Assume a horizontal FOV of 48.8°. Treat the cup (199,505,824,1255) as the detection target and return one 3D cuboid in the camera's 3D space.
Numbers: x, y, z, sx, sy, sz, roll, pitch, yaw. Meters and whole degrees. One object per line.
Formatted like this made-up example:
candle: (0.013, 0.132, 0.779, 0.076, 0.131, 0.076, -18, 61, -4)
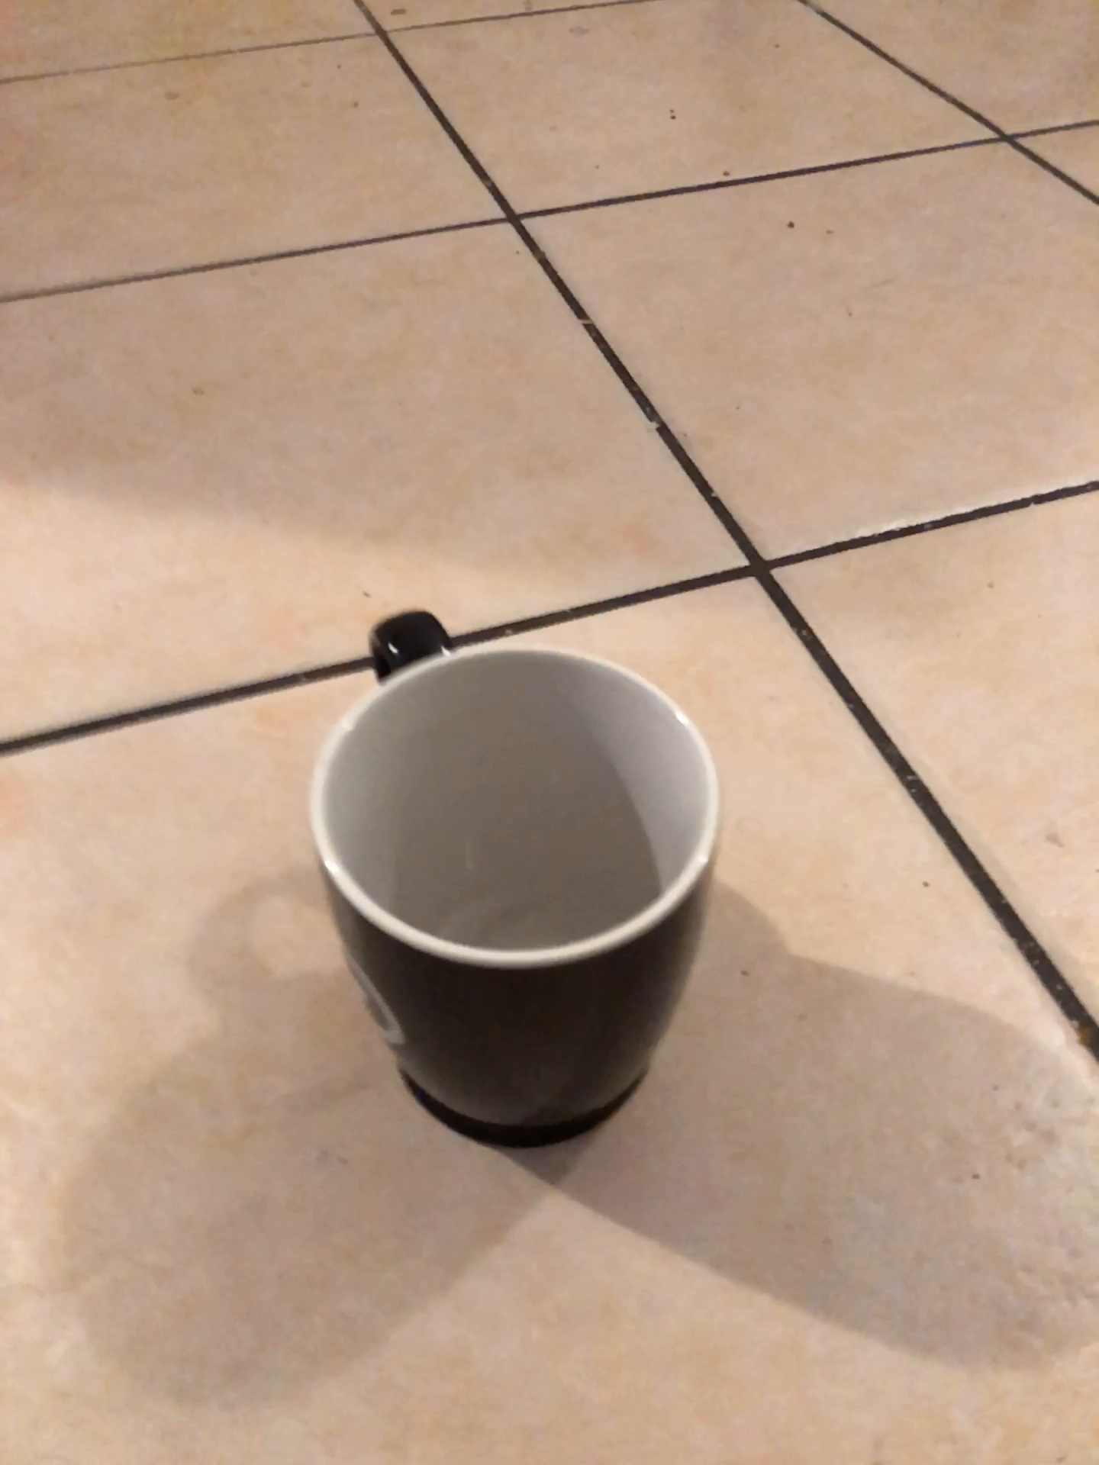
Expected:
cup: (-0.016, 0.032, 0.320, 0.100, 0.100, 0.141, -18, 49, -16)
